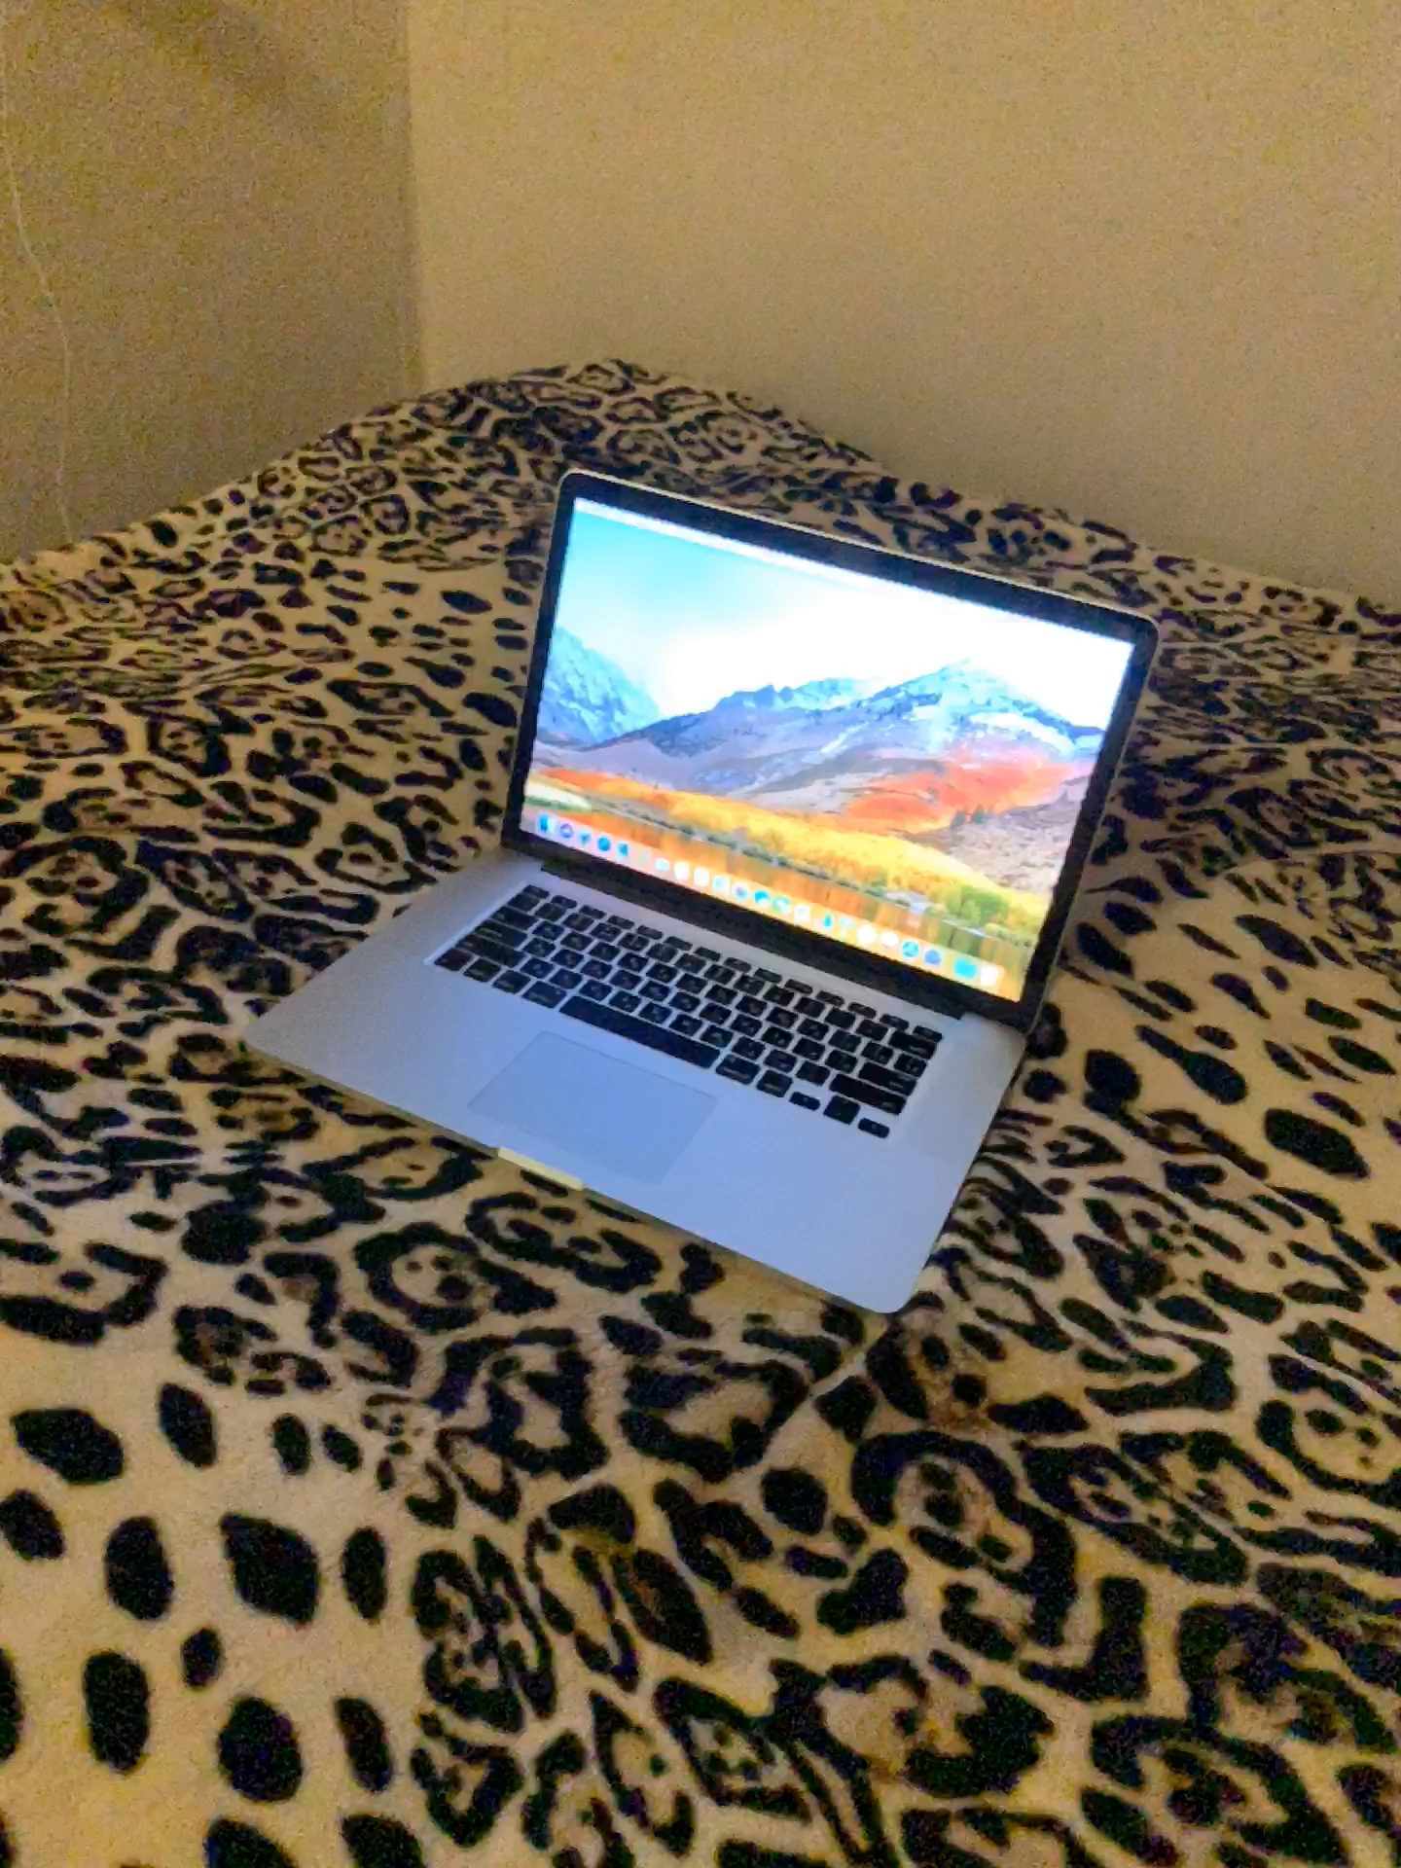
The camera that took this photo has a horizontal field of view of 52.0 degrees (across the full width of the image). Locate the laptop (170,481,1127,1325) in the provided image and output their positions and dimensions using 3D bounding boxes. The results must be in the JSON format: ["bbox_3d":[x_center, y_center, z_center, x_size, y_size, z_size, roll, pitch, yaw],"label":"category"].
[{"bbox_3d":[-0.007,-0.048,0.723,0.349,0.222,0.301,19,36,18],"label":"laptop"}]
